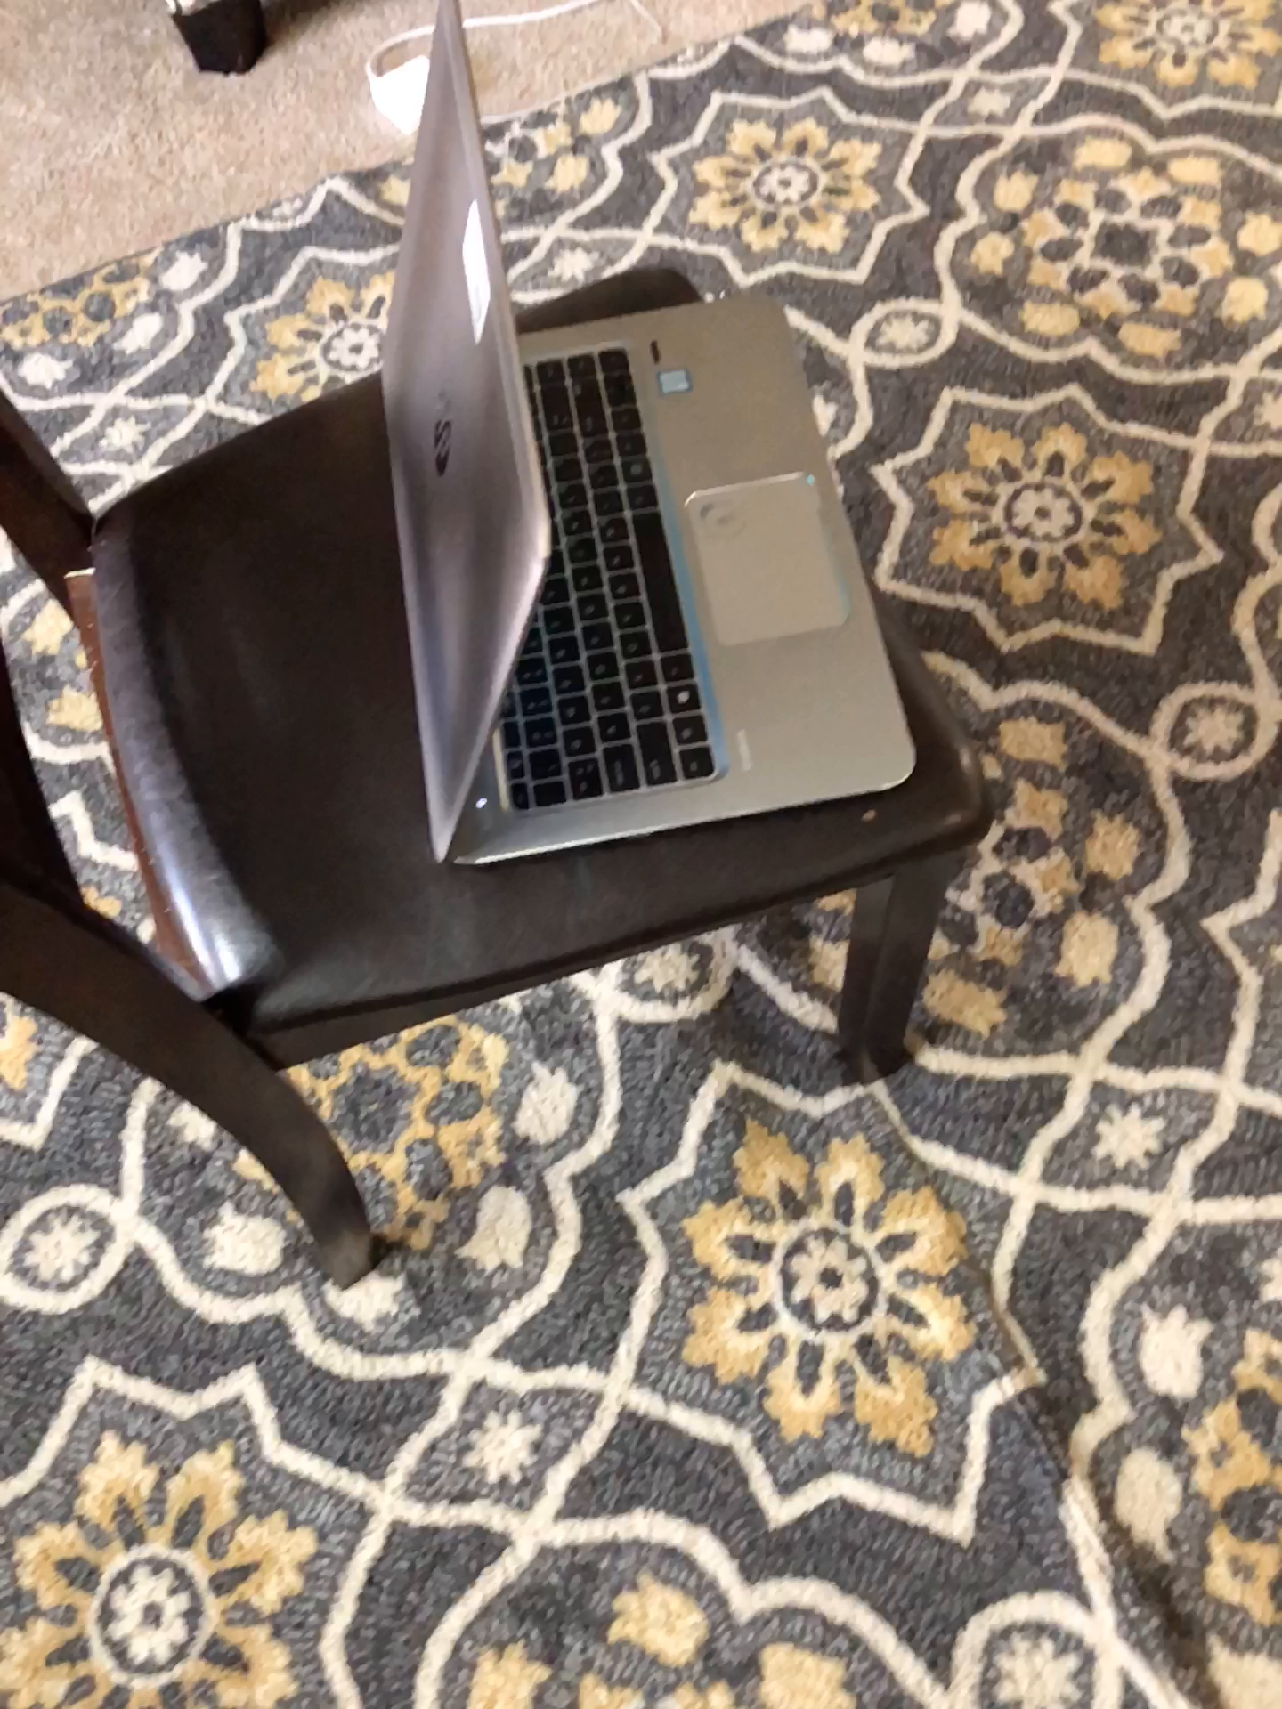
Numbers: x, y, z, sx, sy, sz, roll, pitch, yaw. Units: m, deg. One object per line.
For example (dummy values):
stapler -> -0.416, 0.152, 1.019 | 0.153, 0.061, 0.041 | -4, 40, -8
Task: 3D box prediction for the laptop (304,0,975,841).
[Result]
laptop -> -0.010, -0.208, 0.639 | 0.211, 0.194, 0.323 | -10, 62, 0
